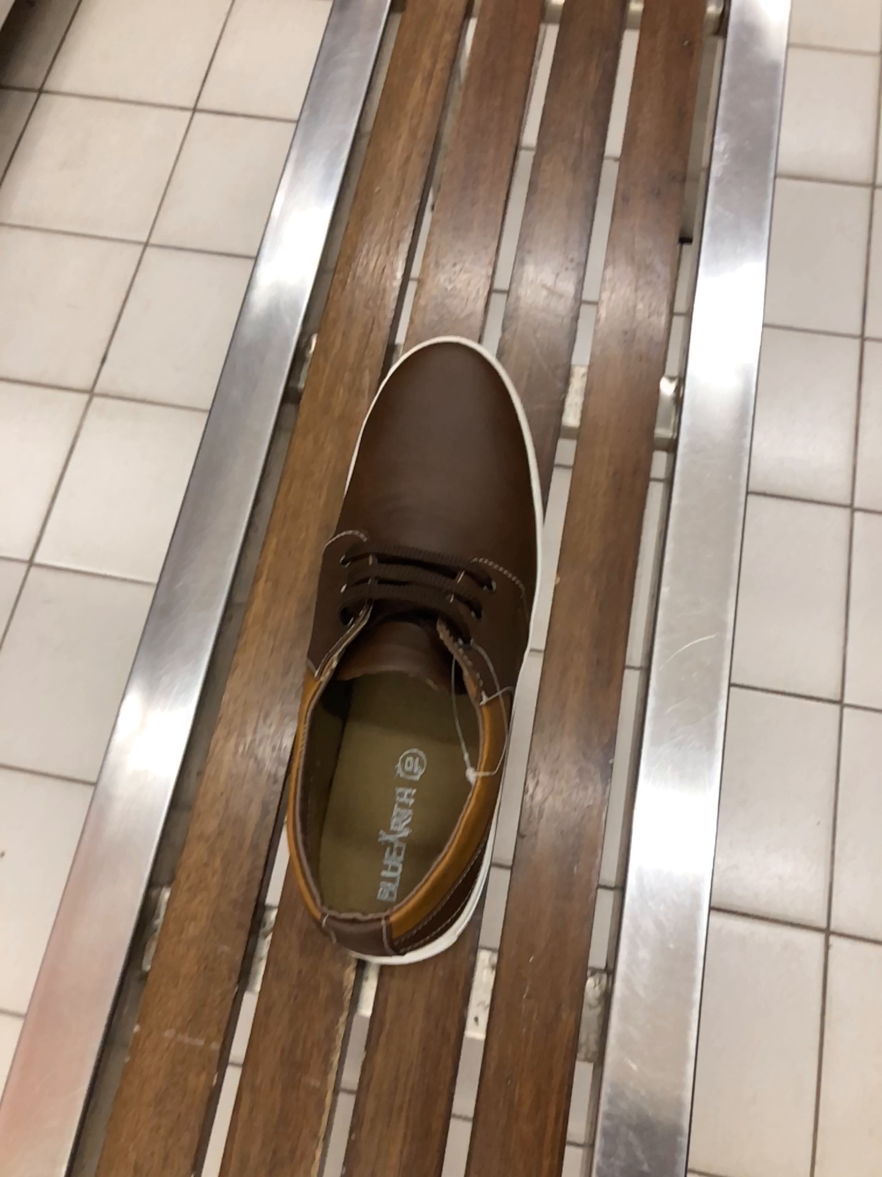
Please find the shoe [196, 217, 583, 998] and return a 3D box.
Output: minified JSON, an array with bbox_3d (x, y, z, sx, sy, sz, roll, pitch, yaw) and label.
[{"bbox_3d":[-0.007,0.004,0.434,0.109,0.115,0.312,5,70,6],"label":"shoe"}]
